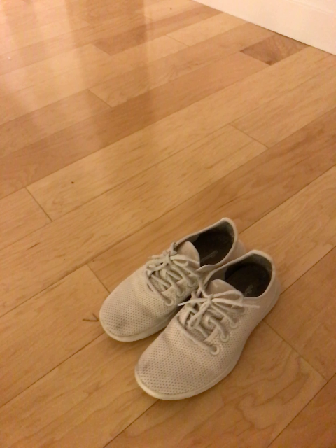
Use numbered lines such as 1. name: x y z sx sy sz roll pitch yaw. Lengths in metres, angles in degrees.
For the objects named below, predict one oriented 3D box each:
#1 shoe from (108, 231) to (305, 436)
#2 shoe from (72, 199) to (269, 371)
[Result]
1. shoe: 0.064 0.143 0.533 0.281 0.079 0.110 -37 57 -26
2. shoe: 0.012 0.084 0.582 0.291 0.079 0.110 -31 54 -22
